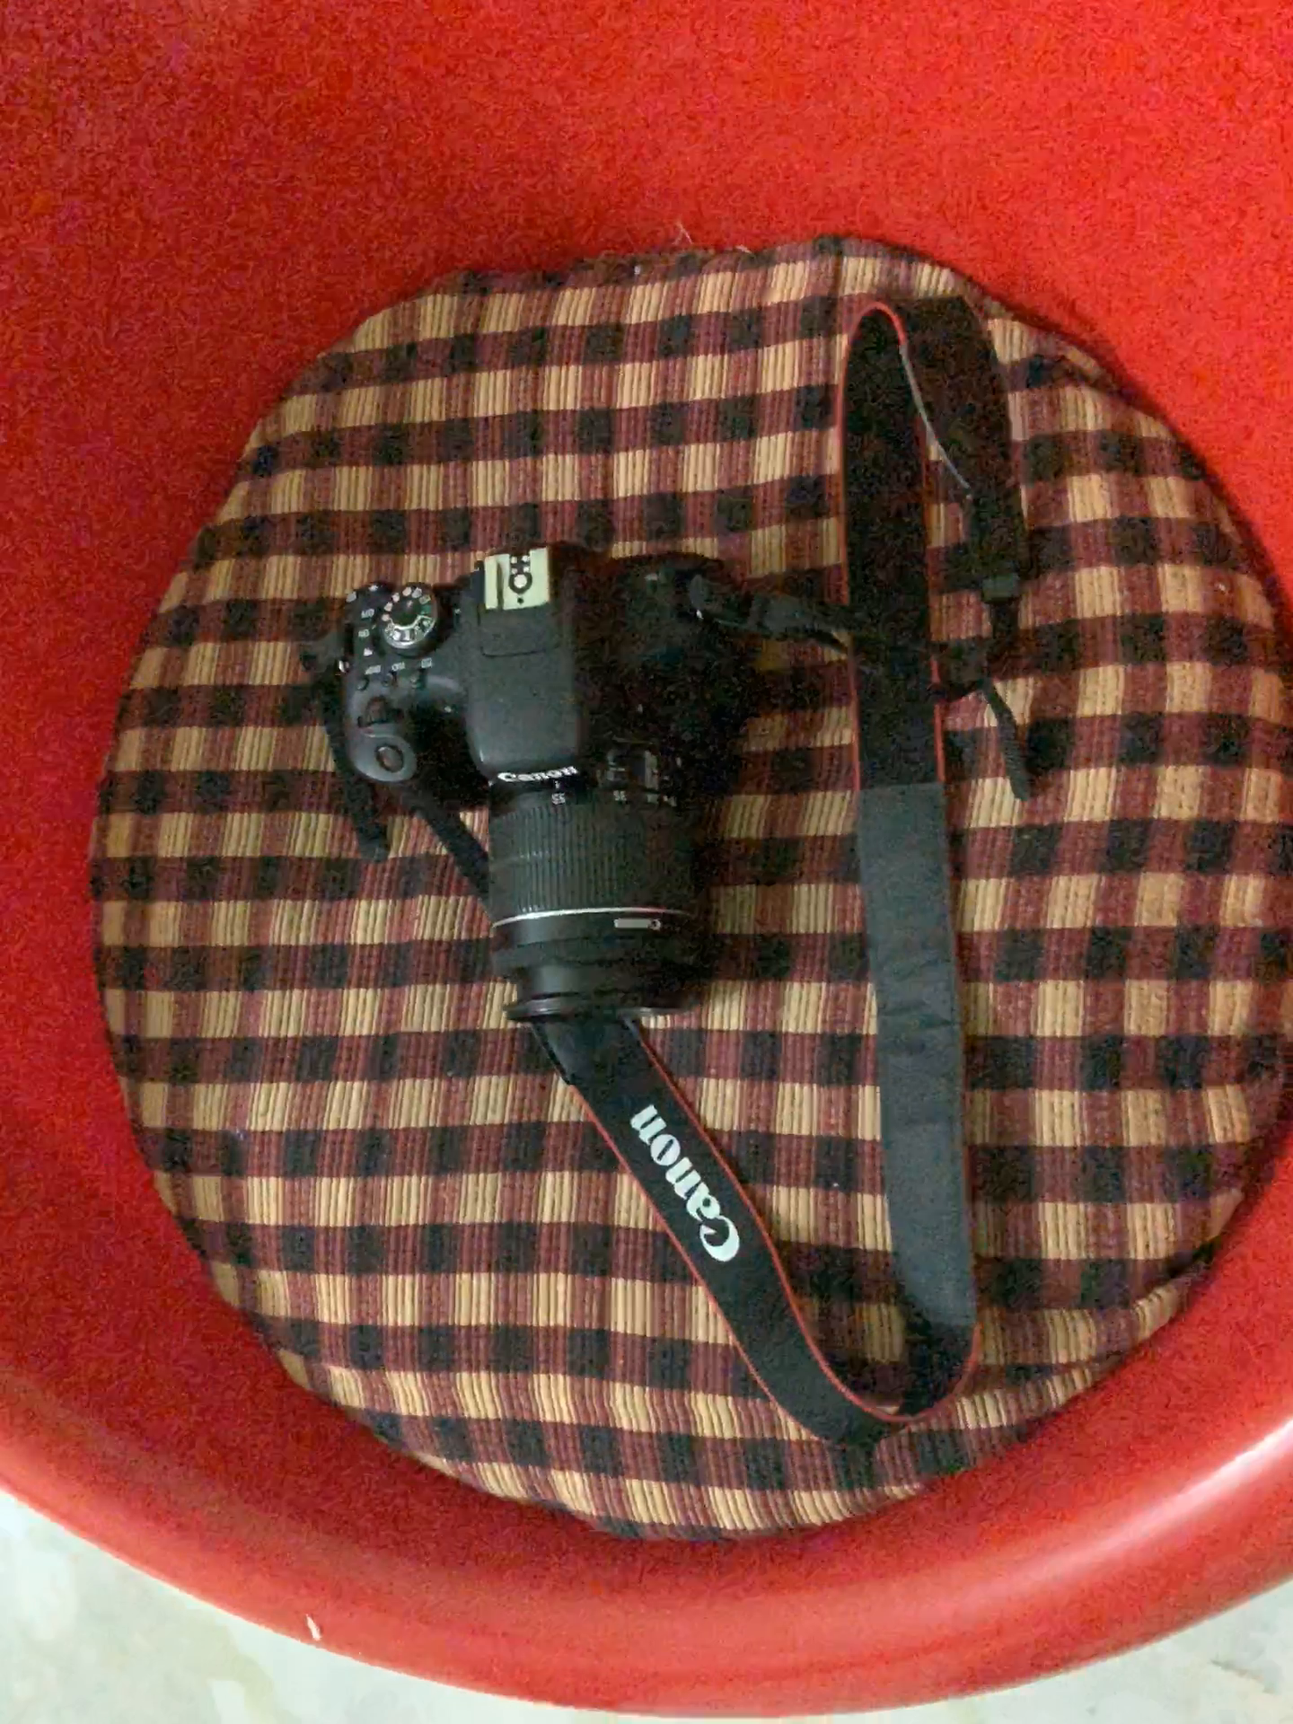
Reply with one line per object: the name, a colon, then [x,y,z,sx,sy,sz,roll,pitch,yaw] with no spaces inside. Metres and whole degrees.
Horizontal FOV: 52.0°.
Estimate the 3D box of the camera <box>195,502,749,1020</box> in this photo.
camera: [-0.051,-0.020,0.442,0.140,0.130,0.138,-4,83,16]
